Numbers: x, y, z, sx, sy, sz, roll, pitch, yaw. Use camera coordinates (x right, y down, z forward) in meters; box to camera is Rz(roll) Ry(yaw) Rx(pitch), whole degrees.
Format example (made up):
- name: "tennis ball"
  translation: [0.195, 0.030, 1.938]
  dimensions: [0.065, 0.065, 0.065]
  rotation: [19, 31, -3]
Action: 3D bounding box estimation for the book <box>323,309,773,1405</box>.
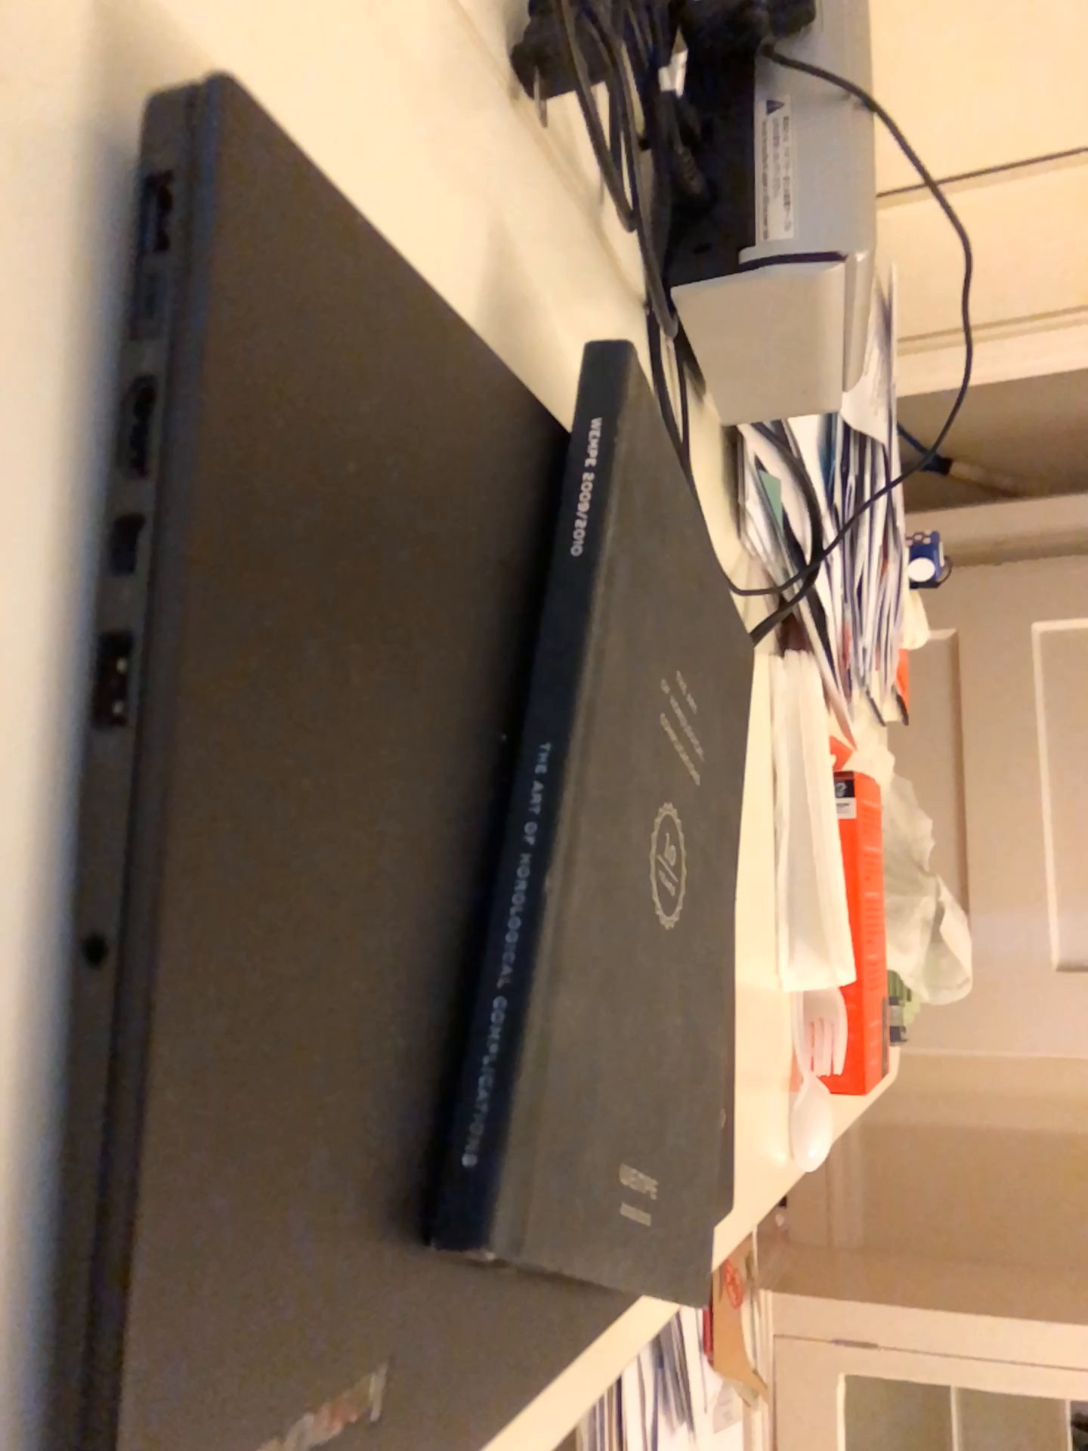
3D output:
- name: "book"
  translation: [0.022, 0.042, 0.302]
  dimensions: [0.170, 0.030, 0.220]
  rotation: [52, 40, -55]
